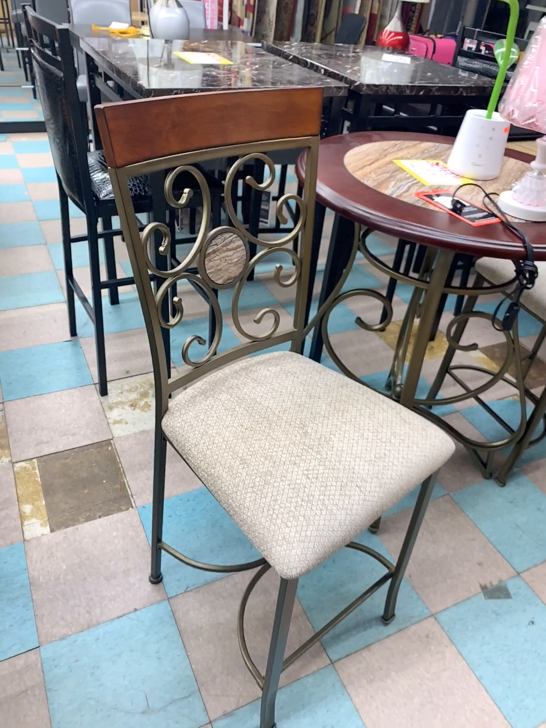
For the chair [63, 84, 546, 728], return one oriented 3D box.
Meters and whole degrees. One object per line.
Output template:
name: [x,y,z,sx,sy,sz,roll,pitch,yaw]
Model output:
chair: [0.030,0.116,1.084,0.511,1.074,0.562,-23,45,-34]
